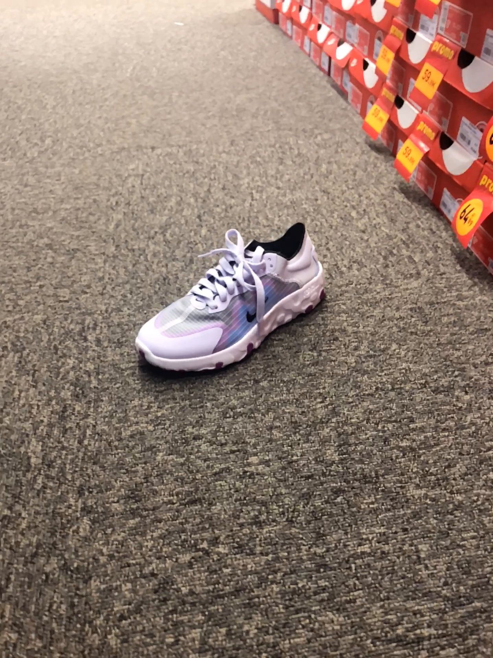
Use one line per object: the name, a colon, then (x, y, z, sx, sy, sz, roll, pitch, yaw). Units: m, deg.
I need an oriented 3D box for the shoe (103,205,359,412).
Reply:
shoe: (-0.008, -0.034, 0.600, 0.261, 0.099, 0.100, -28, 47, -28)
